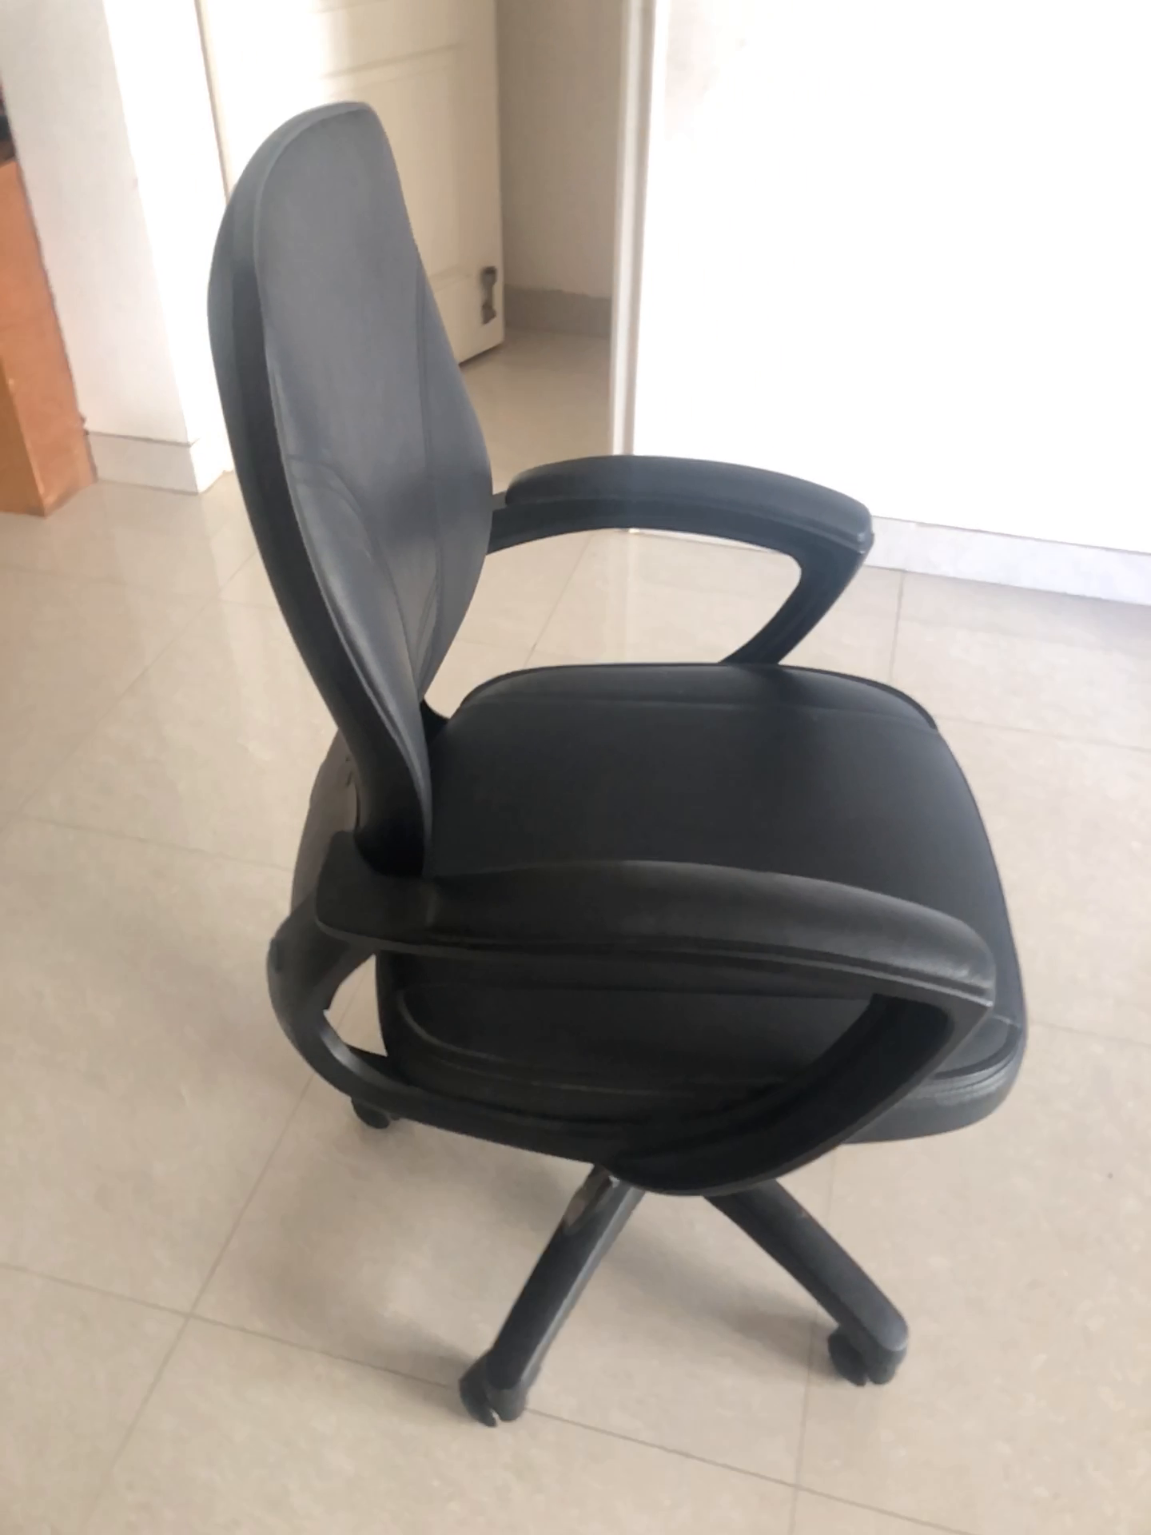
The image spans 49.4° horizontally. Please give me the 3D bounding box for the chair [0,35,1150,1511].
[{"bbox_3d":[0.078,0.011,1.039,0.630,0.953,0.705,4,39,3],"label":"chair"}]
